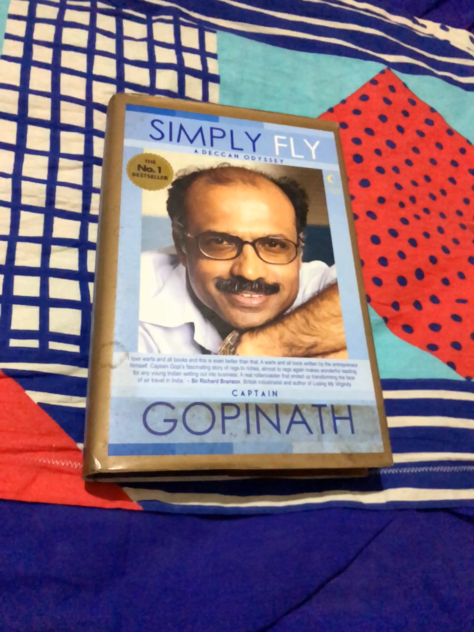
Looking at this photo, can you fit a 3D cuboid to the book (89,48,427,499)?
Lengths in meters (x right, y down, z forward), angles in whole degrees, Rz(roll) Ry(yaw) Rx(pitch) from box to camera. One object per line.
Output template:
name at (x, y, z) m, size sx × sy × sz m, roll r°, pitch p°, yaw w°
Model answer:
book at (0.004, -0.030, 0.310) m, size 0.160 × 0.050 × 0.250 m, roll 3°, pitch 67°, yaw -15°
